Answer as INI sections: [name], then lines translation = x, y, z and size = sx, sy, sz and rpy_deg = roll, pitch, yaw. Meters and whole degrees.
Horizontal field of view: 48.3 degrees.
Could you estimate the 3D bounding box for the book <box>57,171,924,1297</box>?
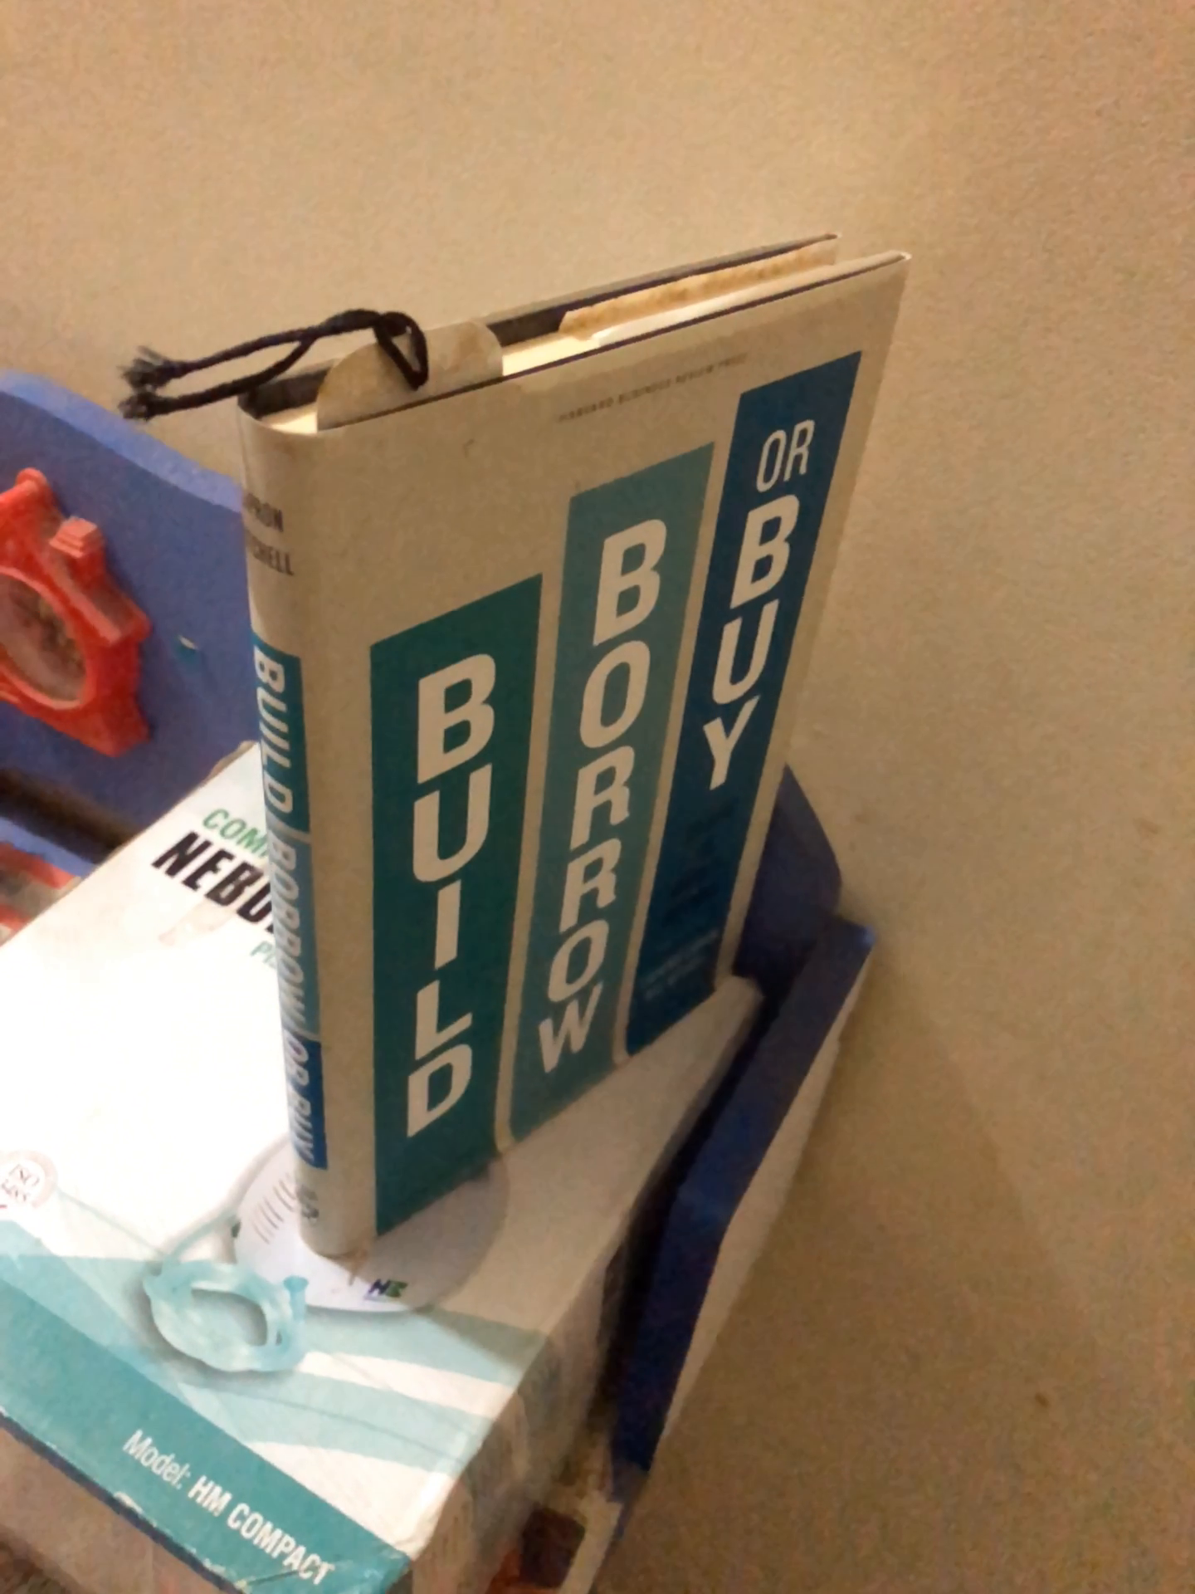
[book]
translation = -0.016, -0.009, 0.329
size = 0.181, 0.239, 0.040
rpy_deg = -30, 52, -34
